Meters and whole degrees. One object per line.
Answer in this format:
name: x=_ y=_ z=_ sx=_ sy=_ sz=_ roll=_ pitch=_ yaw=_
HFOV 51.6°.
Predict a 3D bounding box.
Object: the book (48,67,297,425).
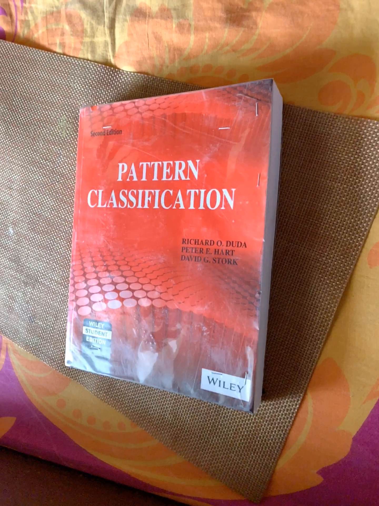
book: x=-0.020 y=-0.010 z=0.308 sx=0.180 sy=0.040 sz=0.230 roll=5 pitch=90 yaw=25
